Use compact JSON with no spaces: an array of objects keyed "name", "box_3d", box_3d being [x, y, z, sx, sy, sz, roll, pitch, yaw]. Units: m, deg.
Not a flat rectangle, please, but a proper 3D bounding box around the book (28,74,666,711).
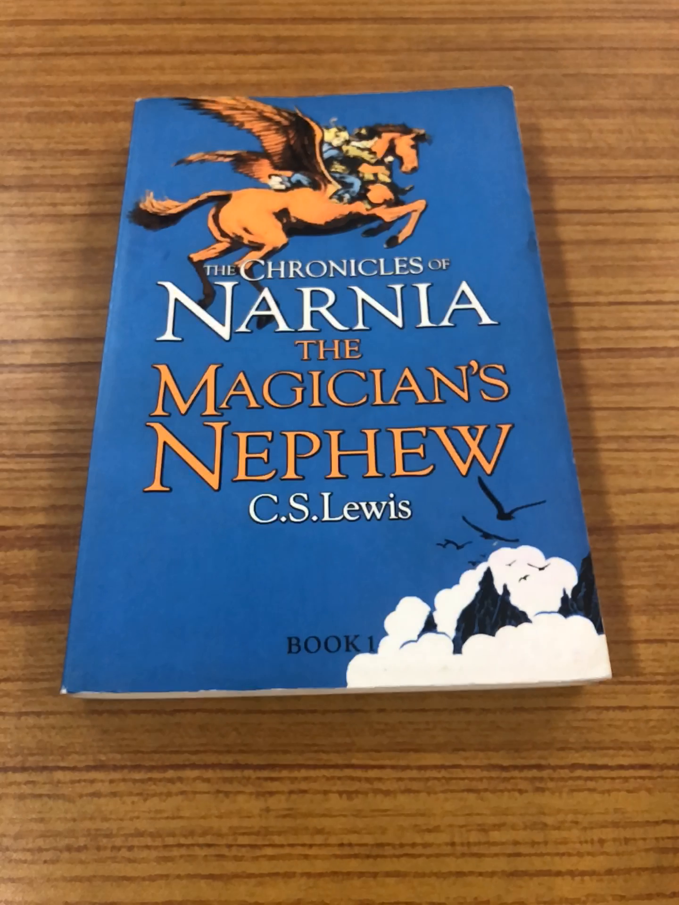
[{"name":"book","box_3d":[-0.001,-0.029,0.222,0.140,0.030,0.190,-2,65,0]}]
